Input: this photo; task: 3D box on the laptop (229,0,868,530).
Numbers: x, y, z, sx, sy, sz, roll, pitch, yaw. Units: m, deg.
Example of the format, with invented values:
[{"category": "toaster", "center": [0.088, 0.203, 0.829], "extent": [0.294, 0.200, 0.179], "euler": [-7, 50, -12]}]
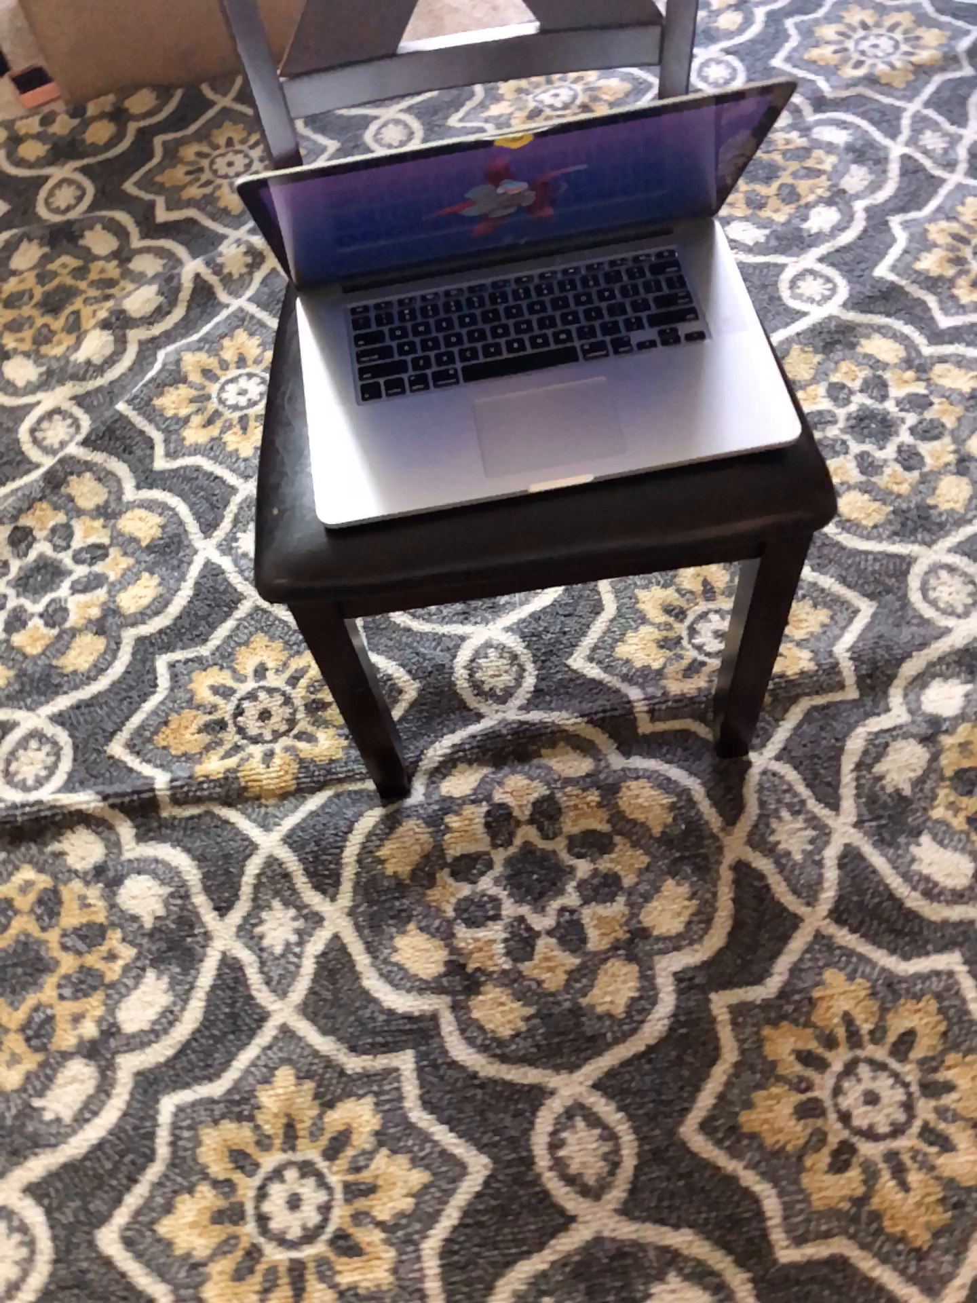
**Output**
[{"category": "laptop", "center": [0.026, -0.269, 0.736], "extent": [0.351, 0.200, 0.237], "euler": [-10, 59, -1]}]
